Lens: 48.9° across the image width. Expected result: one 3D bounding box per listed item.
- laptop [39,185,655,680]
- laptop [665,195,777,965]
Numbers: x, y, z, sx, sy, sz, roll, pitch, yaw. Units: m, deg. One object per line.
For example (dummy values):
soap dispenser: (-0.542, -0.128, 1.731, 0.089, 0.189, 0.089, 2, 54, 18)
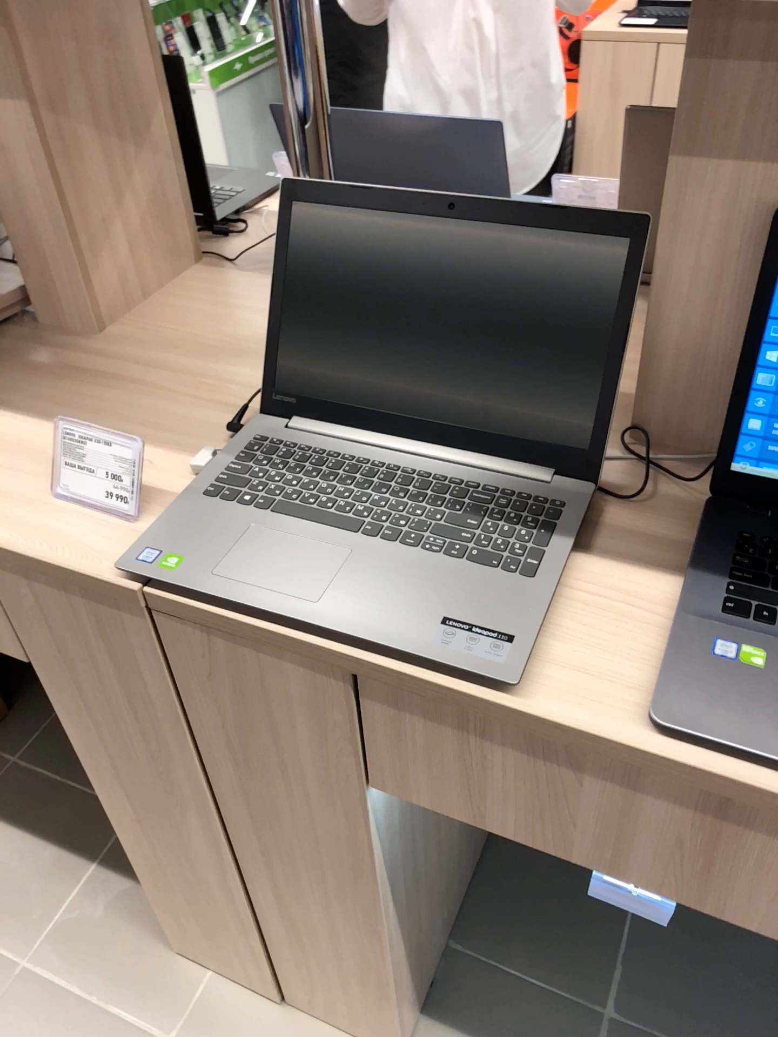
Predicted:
laptop: (-0.006, -0.112, 0.752, 0.370, 0.208, 0.367, 13, 43, 21)
laptop: (0.432, -0.010, 0.564, 0.403, 0.246, 0.335, 14, 43, 21)
